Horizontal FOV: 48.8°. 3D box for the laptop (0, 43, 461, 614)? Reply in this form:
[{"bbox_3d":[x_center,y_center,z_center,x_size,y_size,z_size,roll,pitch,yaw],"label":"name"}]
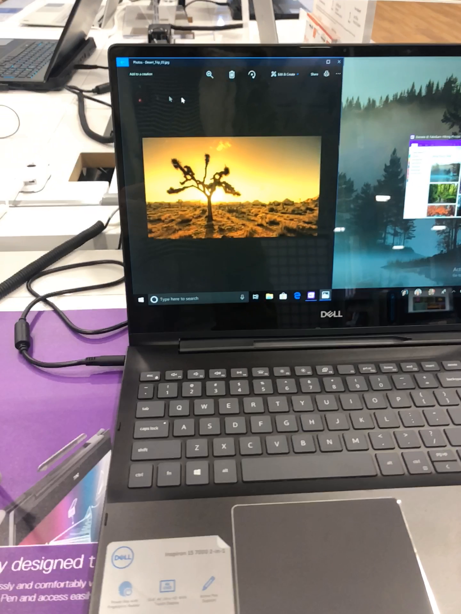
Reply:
[{"bbox_3d":[0.093,-0.014,0.316,0.341,0.207,0.325,-2,38,-4],"label":"laptop"}]
